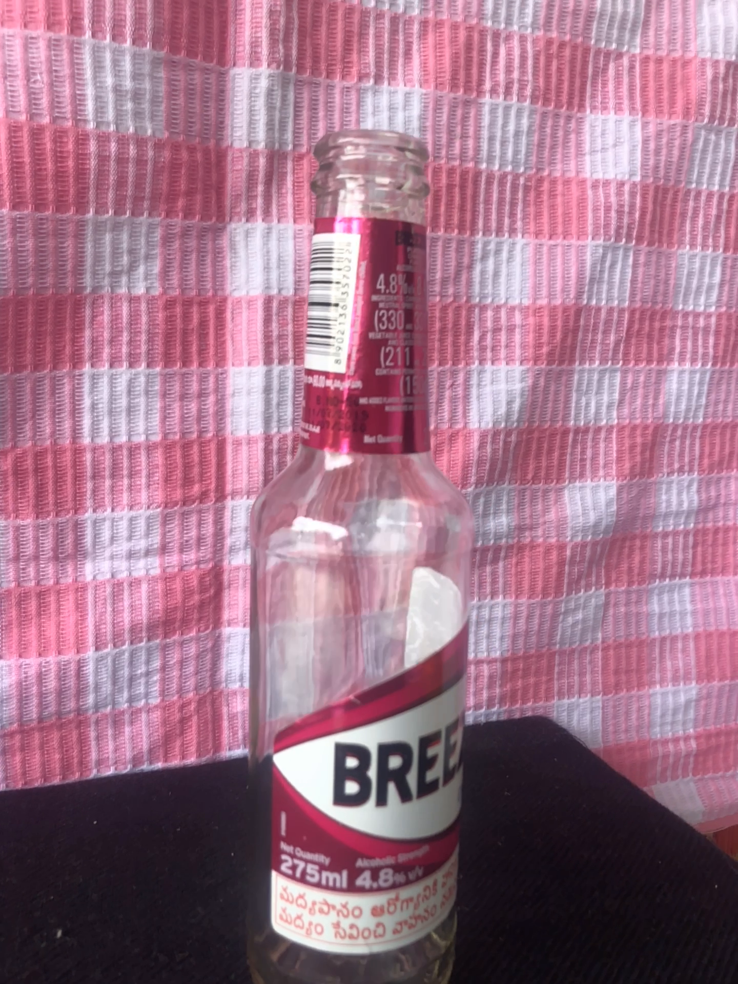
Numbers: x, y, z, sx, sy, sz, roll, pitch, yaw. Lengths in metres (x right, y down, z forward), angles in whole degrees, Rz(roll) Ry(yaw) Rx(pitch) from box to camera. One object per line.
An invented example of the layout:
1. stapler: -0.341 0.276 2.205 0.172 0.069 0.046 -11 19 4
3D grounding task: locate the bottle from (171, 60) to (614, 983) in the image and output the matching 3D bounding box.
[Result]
1. bottle: 0.001 0.028 0.186 0.060 0.209 0.060 4 11 -1
